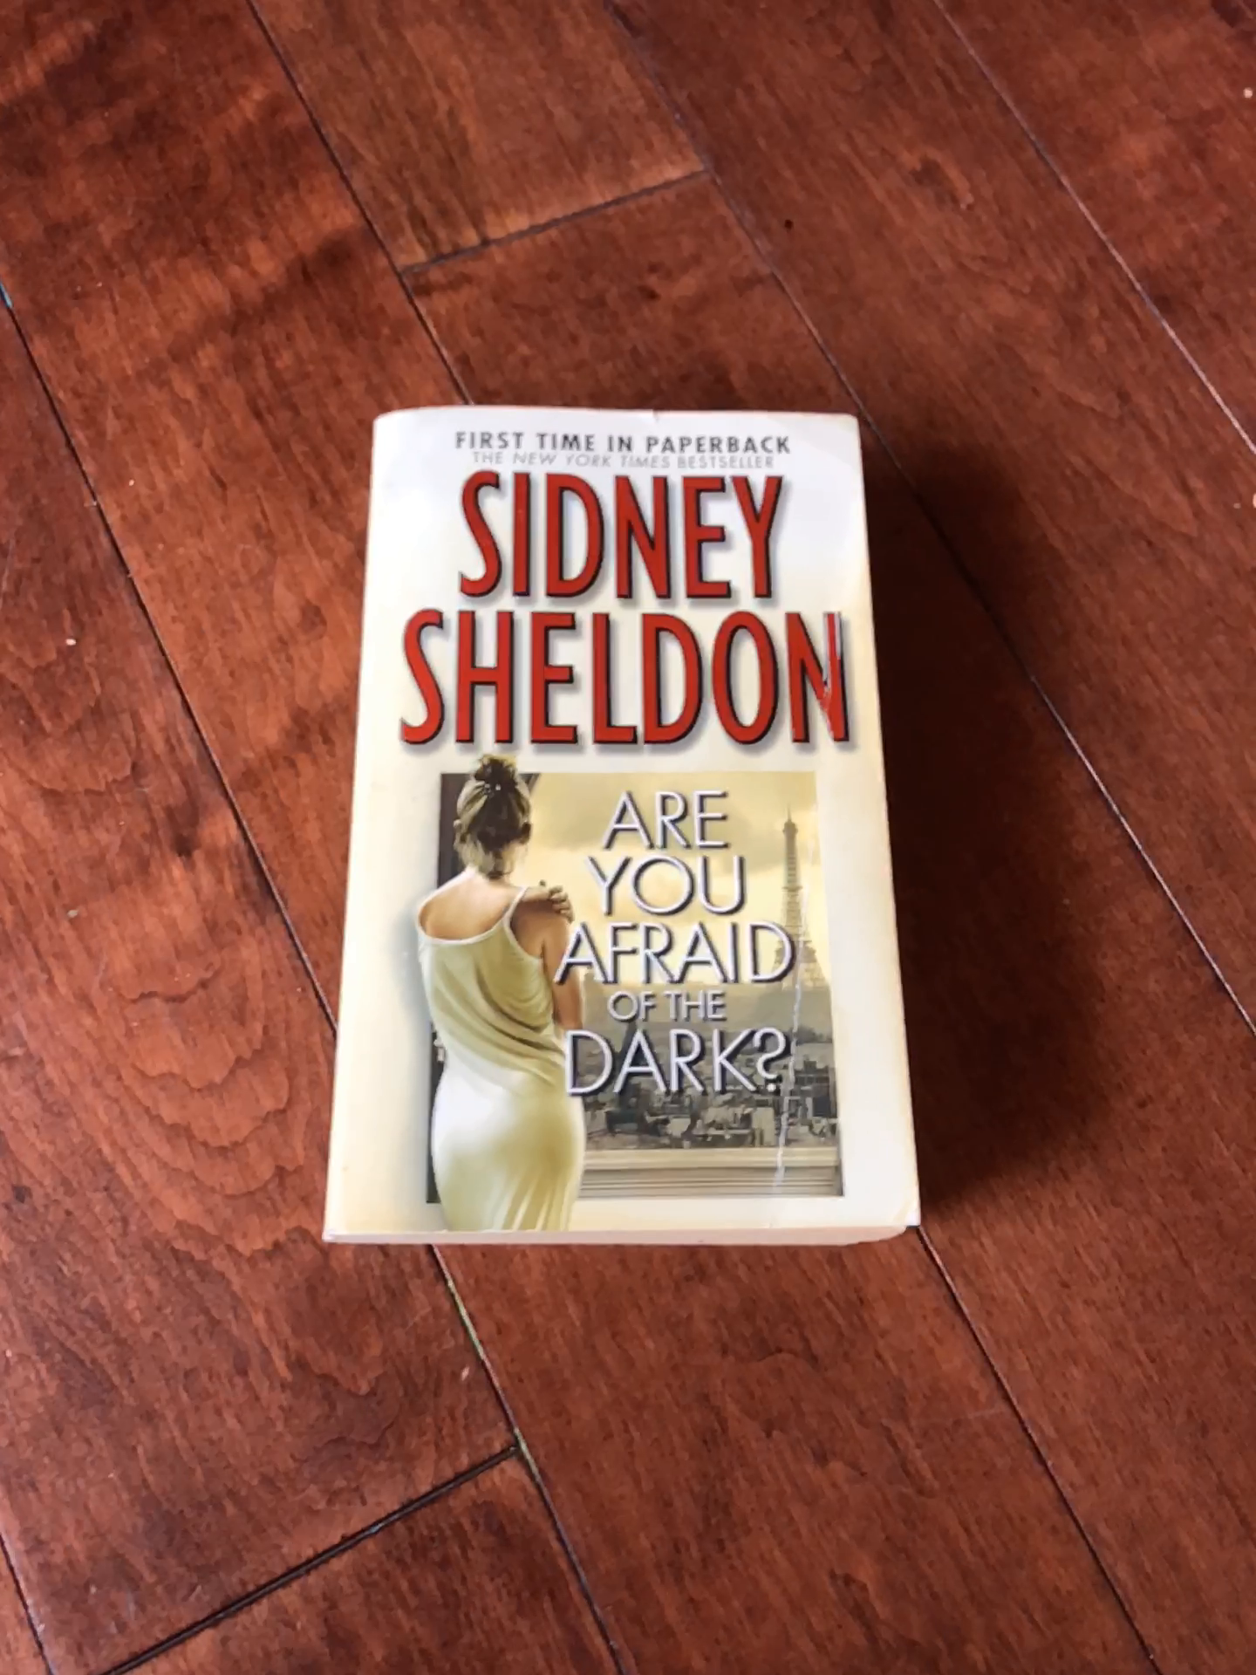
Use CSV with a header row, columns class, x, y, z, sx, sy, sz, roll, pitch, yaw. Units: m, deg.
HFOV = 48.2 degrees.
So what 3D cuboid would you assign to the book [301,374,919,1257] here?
class,x,y,z,sx,sy,sz,roll,pitch,yaw
book,-0.004,-0.008,0.293,0.108,0.040,0.180,0,71,-2
